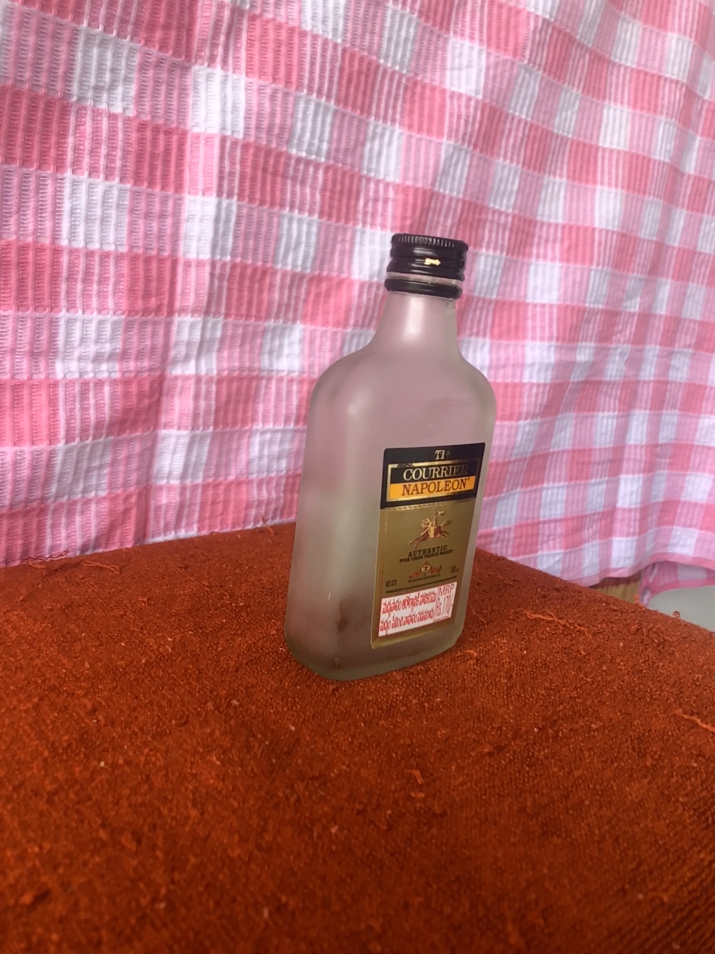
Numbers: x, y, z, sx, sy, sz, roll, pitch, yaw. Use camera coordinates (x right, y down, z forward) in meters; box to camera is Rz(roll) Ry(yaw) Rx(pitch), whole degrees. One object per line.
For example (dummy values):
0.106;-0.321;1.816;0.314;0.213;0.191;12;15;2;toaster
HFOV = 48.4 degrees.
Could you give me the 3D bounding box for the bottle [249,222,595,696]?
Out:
0.021;-0.008;0.261;0.080;0.130;0.050;-2;17;-45;bottle
